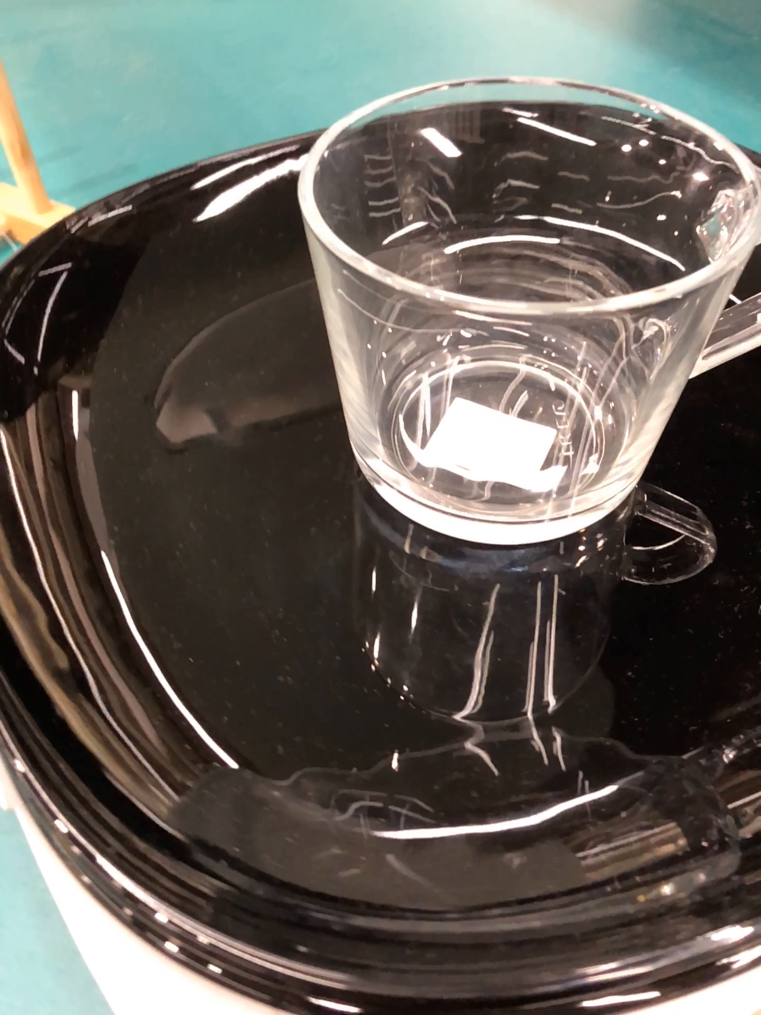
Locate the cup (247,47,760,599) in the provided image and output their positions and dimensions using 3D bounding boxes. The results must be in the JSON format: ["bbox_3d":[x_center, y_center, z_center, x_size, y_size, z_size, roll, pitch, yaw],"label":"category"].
[{"bbox_3d":[0.043,-0.058,0.239,0.140,0.080,0.120,-9,47,-6],"label":"cup"}]
